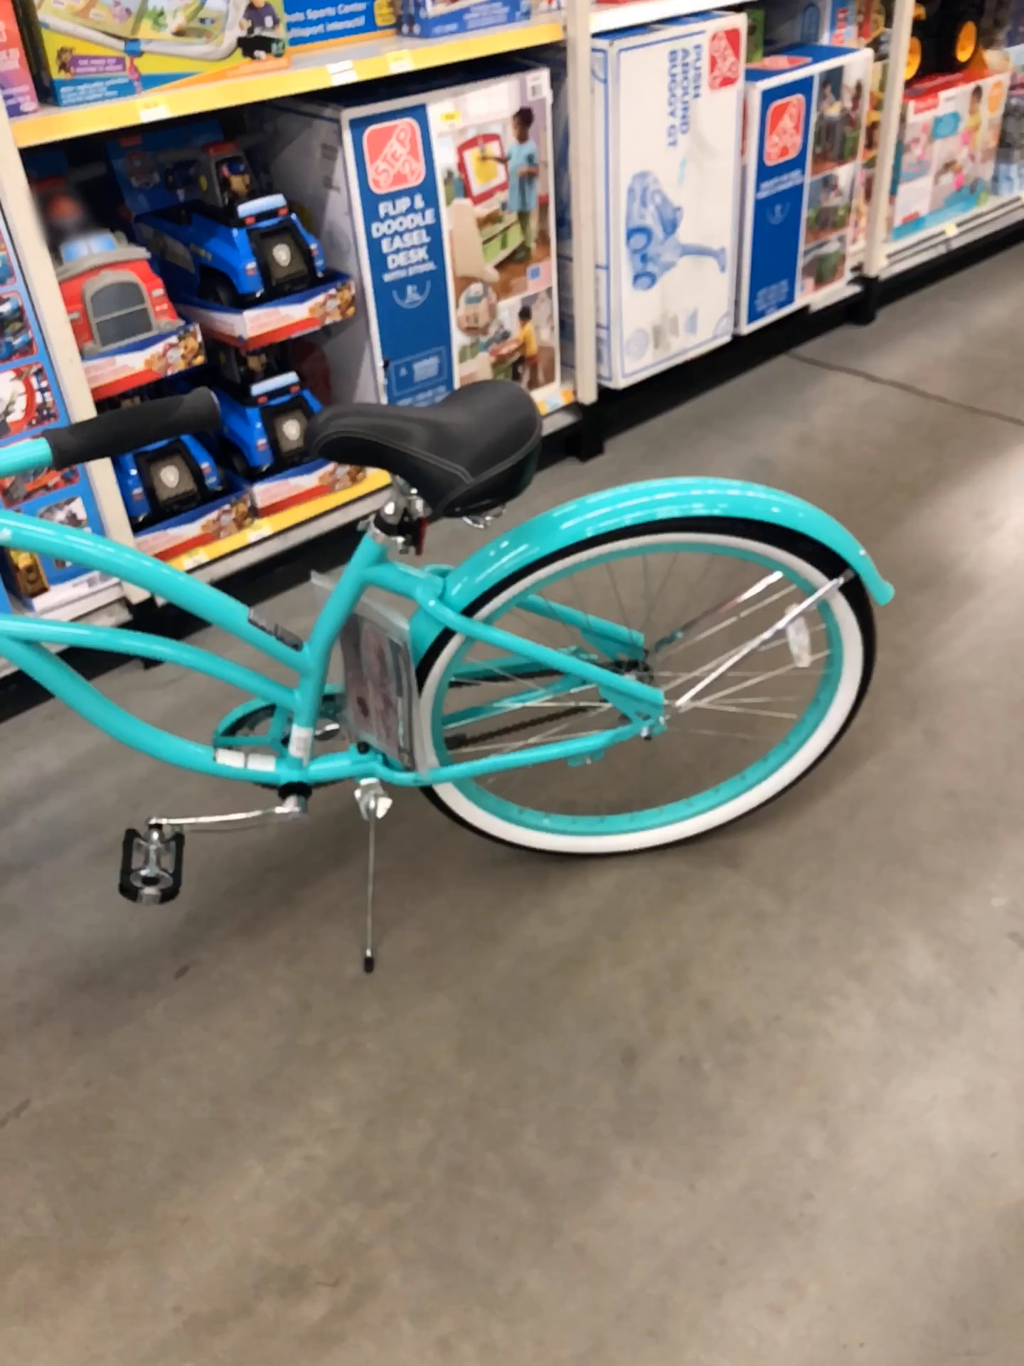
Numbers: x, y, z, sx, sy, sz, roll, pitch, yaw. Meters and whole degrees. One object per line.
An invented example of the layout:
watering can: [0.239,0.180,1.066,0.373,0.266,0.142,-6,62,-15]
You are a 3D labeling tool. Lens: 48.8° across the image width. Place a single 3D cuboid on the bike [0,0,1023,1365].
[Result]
bike: [-0.299,0.014,1.189,1.491,1.144,0.762,-16,38,-10]
